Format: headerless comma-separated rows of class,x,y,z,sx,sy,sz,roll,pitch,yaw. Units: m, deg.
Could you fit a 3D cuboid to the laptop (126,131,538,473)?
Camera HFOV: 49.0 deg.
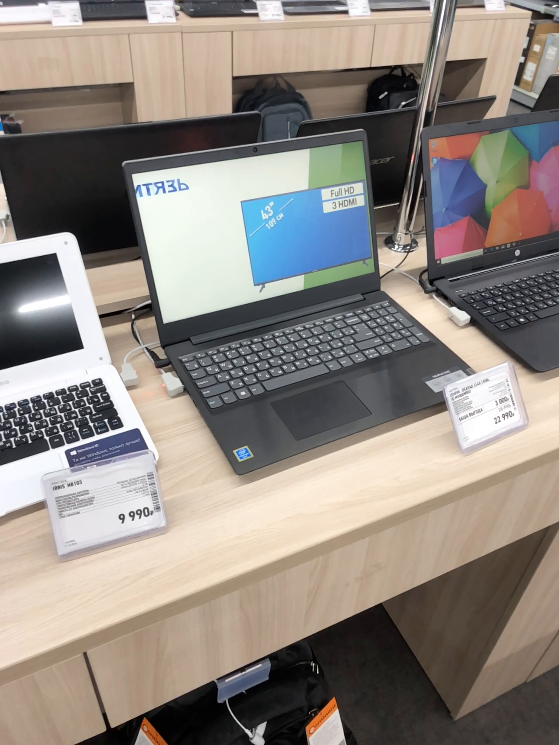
laptop,0.041,-0.122,0.773,0.355,0.212,0.341,-16,44,-23

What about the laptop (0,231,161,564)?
laptop,-0.316,-0.002,0.664,0.280,0.139,0.290,-17,44,-23

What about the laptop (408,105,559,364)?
laptop,0.460,-0.232,0.928,0.375,0.206,0.322,-15,43,-21
